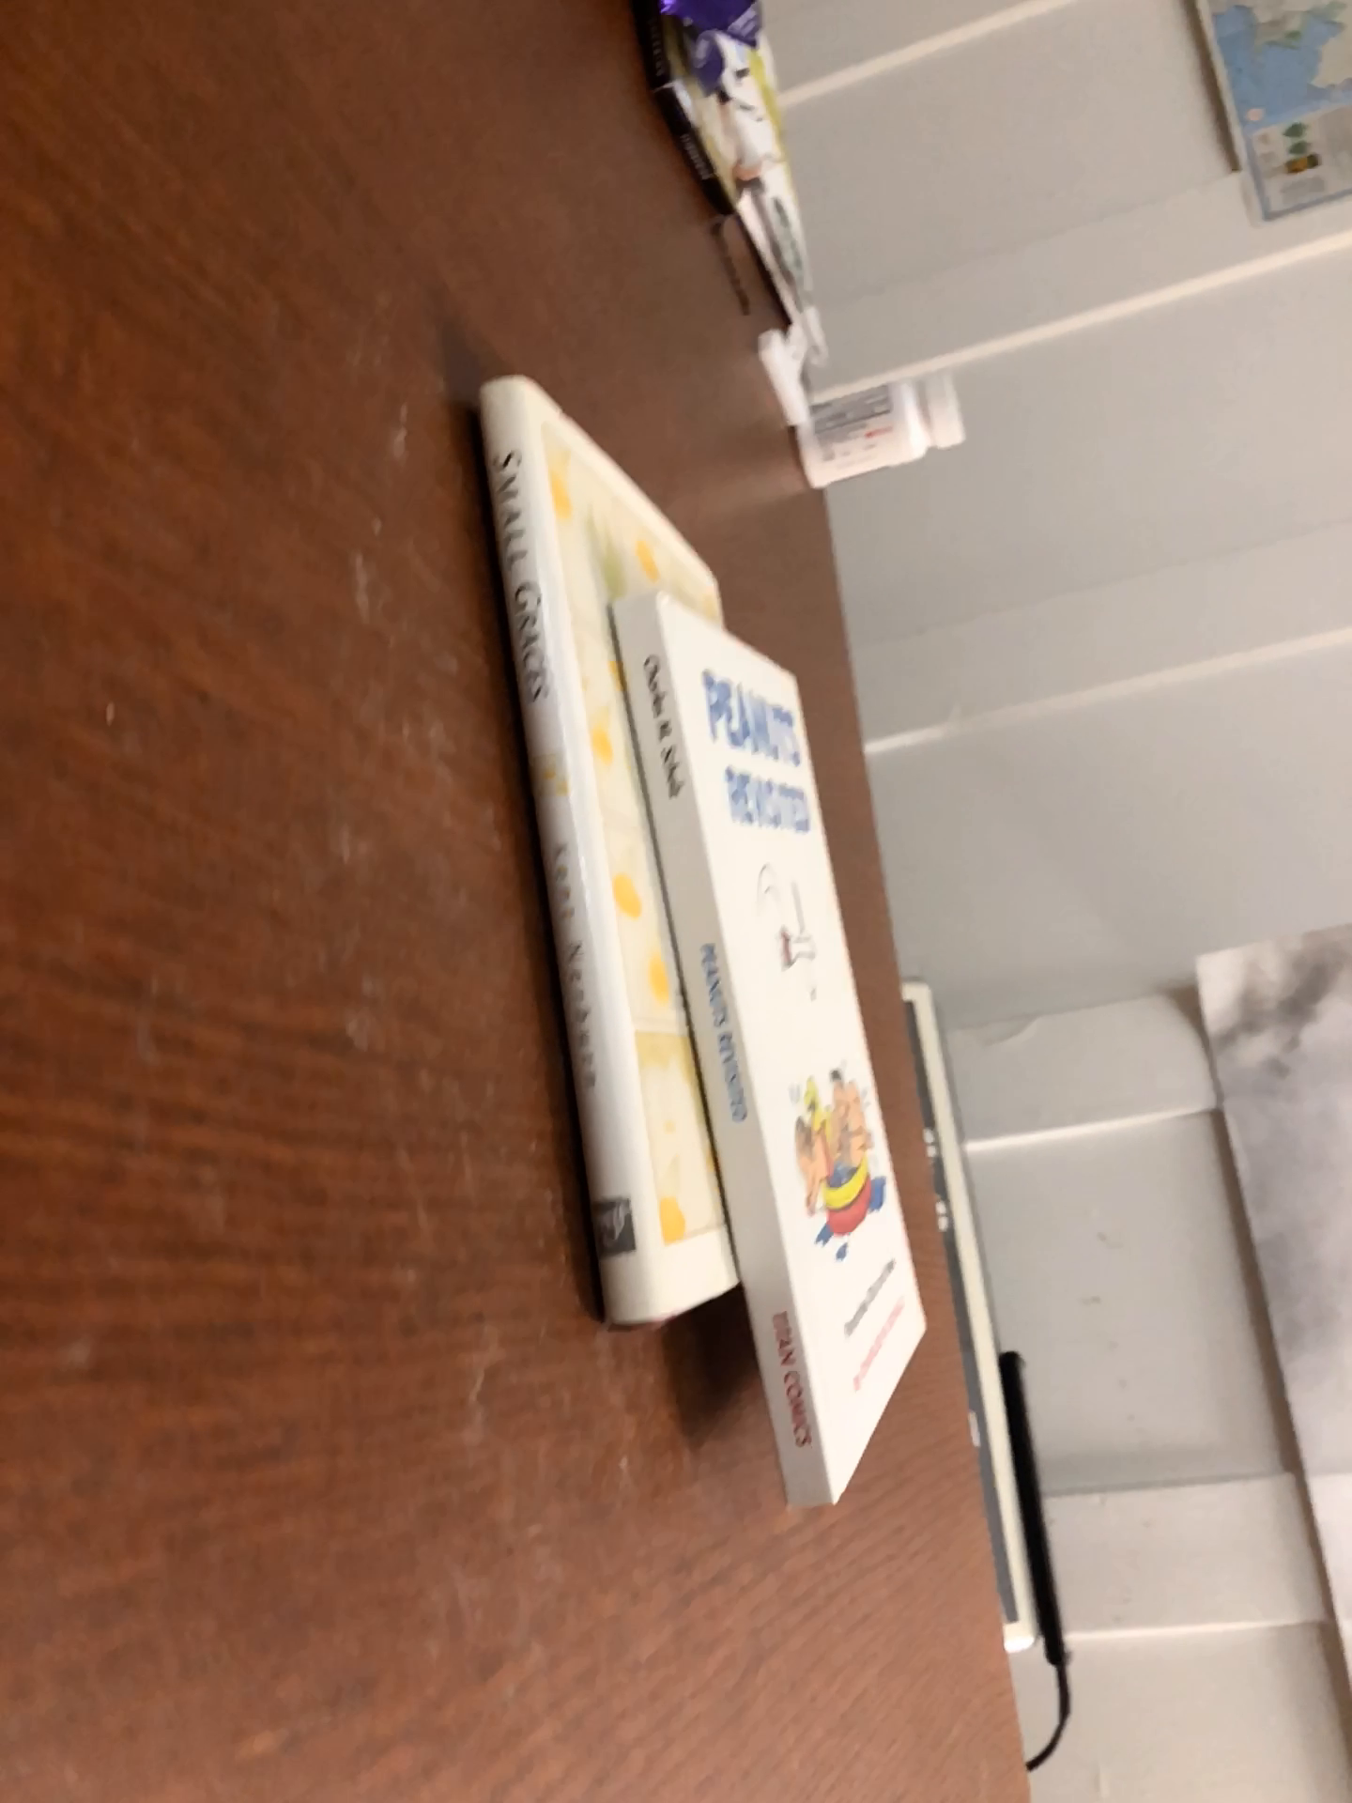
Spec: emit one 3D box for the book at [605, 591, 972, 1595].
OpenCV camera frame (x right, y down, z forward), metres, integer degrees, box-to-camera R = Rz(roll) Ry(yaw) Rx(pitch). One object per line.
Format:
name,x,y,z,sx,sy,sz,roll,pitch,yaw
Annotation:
book,0.038,0.037,0.390,0.161,0.020,0.210,-6,85,-73
